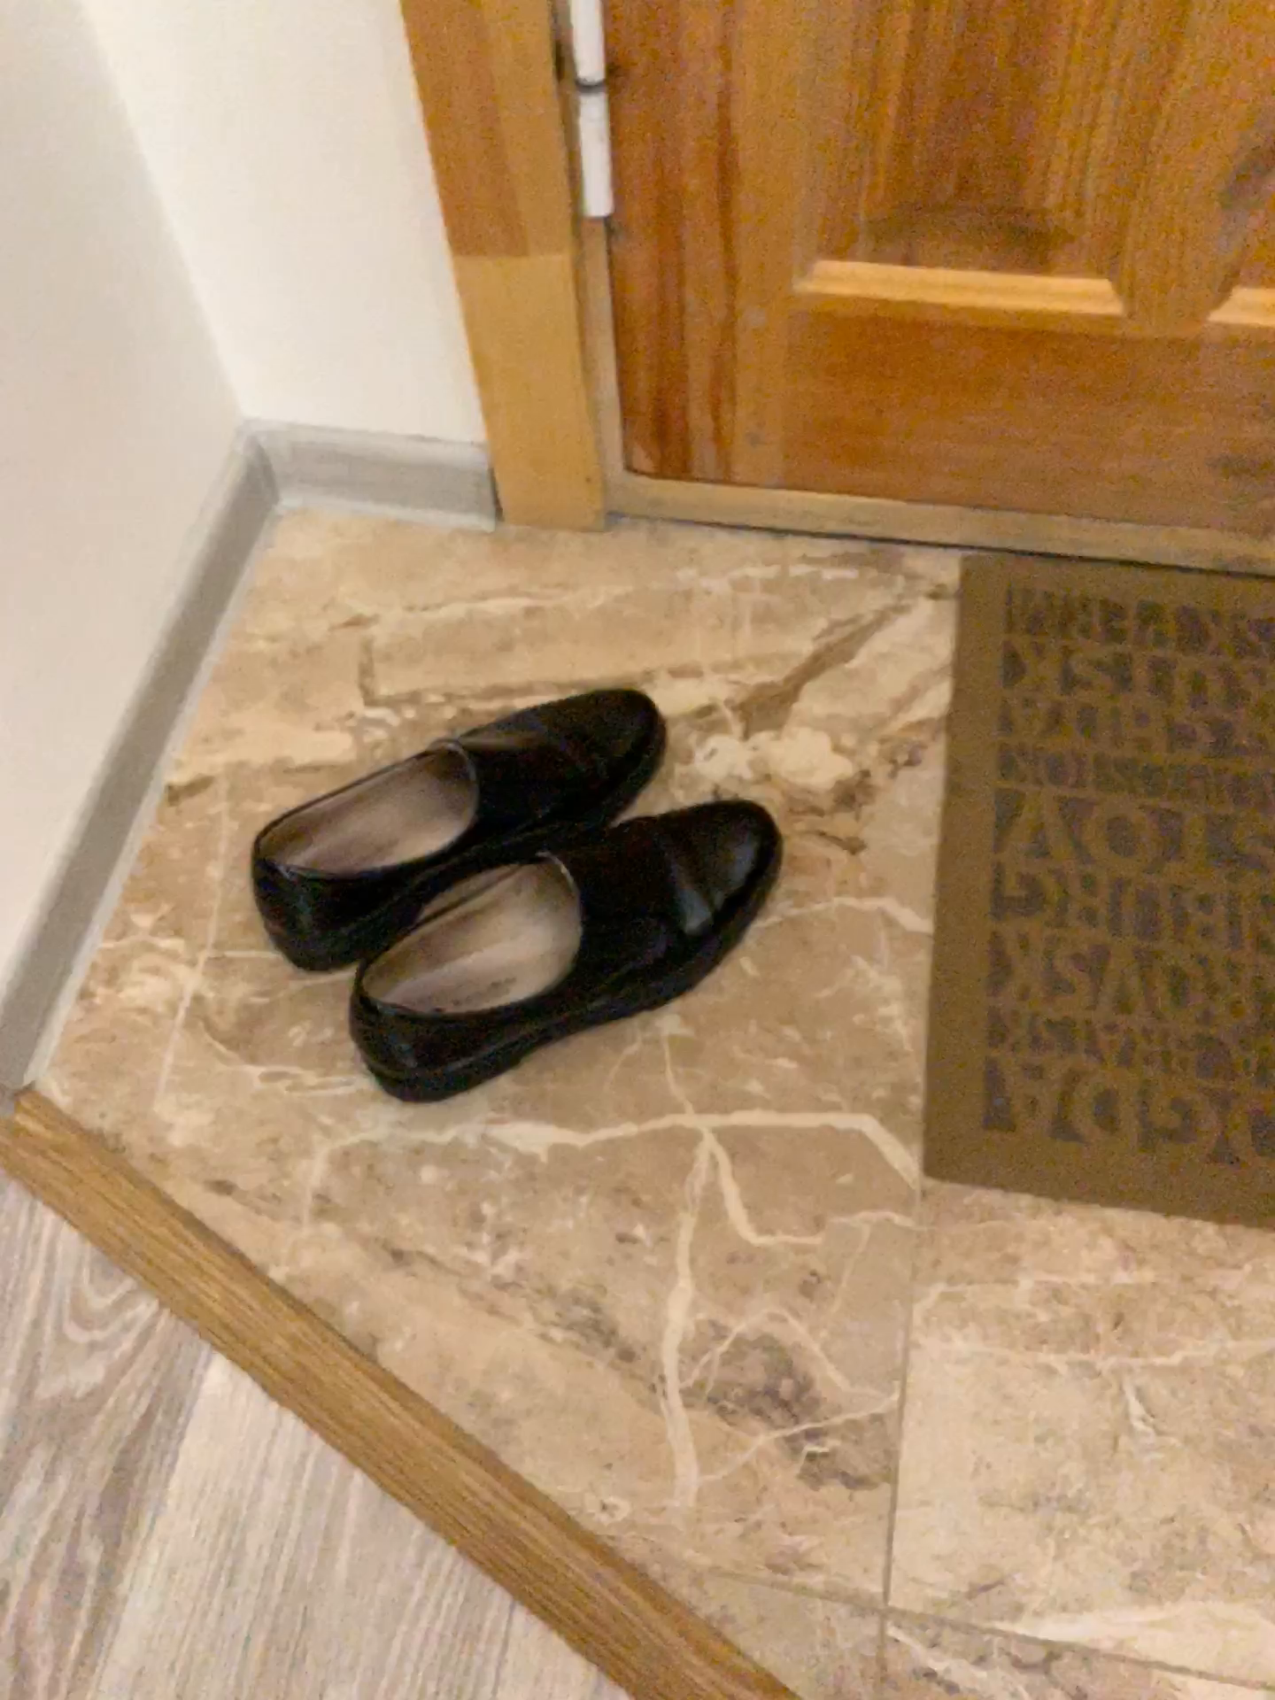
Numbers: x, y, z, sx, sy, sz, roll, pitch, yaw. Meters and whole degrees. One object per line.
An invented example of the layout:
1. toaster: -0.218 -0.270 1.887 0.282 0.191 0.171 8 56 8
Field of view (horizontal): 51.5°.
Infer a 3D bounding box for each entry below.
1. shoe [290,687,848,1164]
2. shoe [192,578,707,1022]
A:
1. shoe: -0.028 0.037 0.675 0.260 0.100 0.090 -30 62 -14
2. shoe: -0.093 -0.030 0.732 0.260 0.100 0.090 -32 62 -15
